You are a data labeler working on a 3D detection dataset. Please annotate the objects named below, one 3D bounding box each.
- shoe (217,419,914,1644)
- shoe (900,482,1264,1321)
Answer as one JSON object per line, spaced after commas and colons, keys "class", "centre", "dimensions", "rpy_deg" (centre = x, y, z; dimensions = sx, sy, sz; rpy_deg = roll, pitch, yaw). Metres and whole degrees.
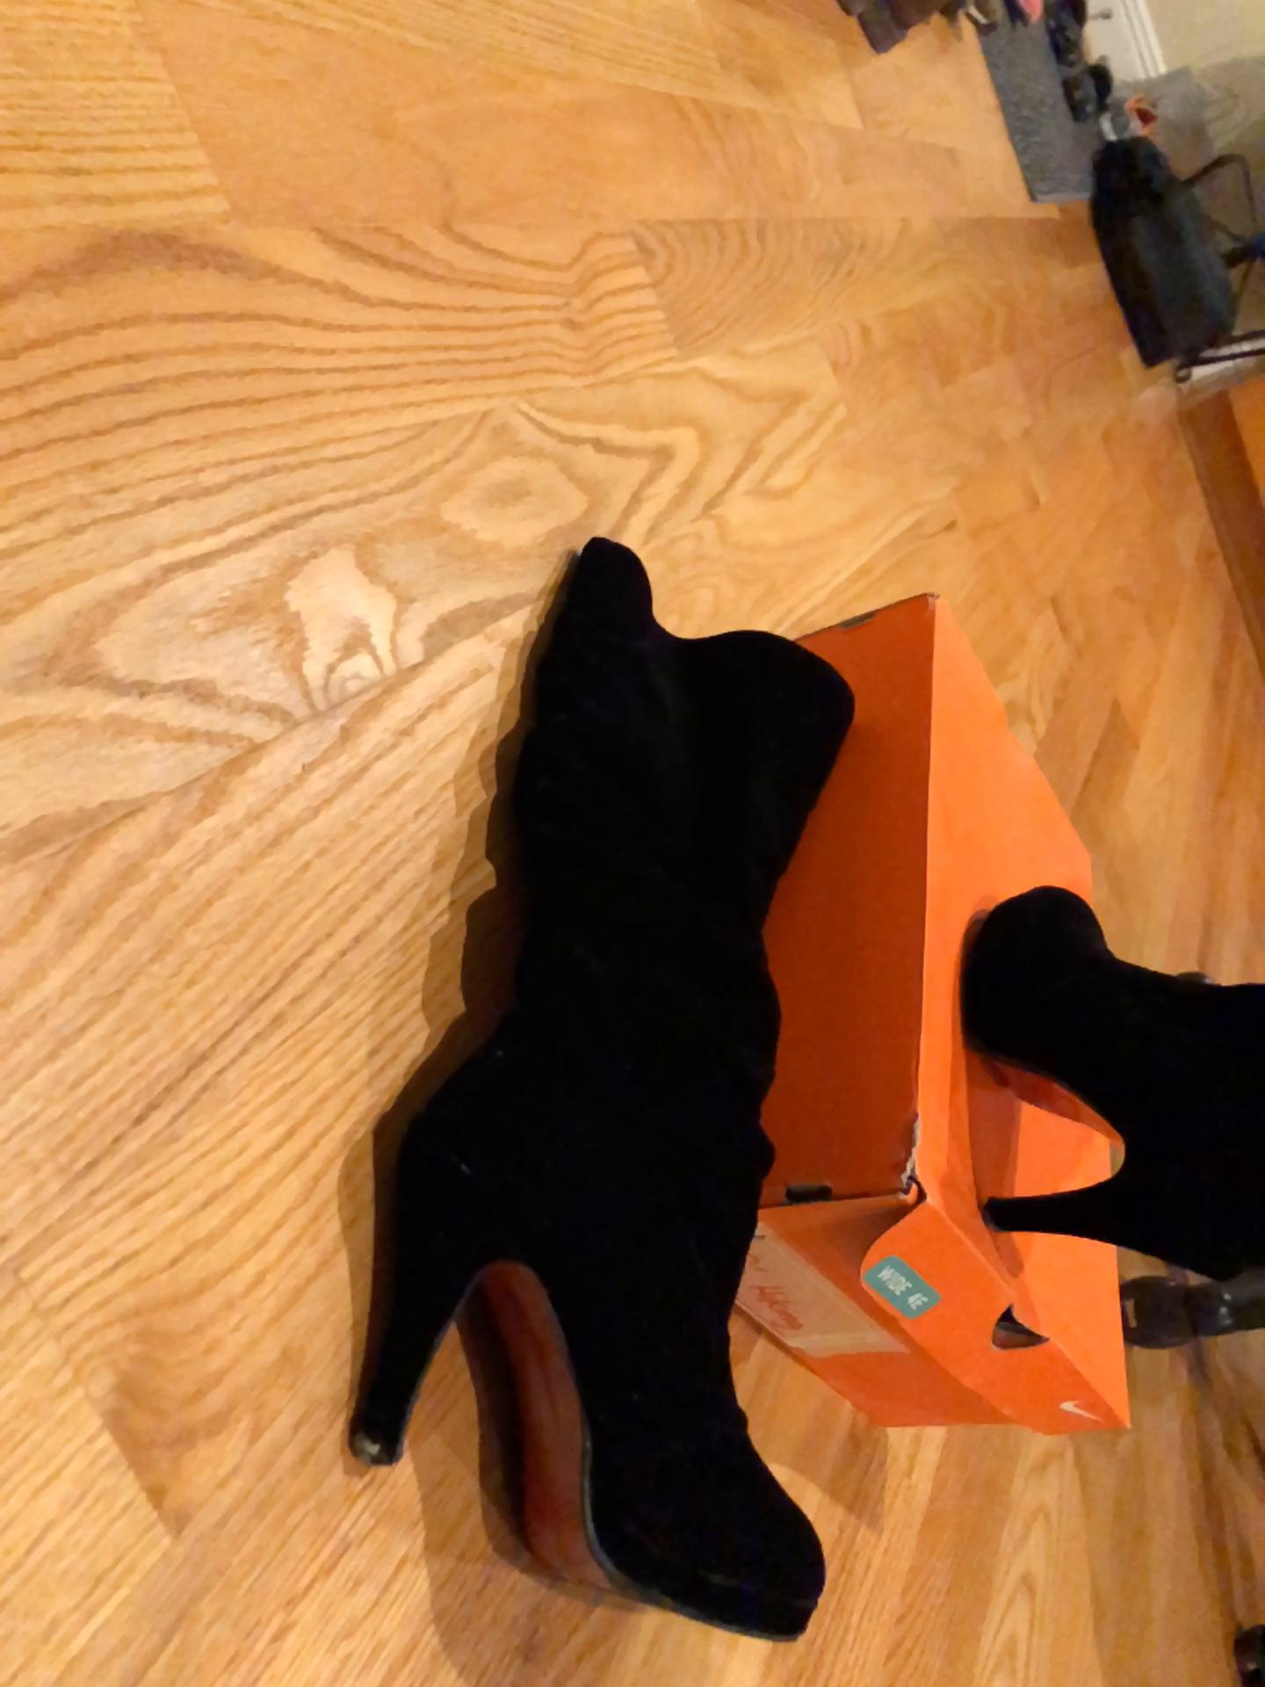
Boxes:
{"class": "shoe", "centre": [0.016, 0.051, 0.527], "dimensions": [0.207, 0.089, 0.401], "rpy_deg": [46, 39, -36]}
{"class": "shoe", "centre": [0.308, 0.036, 0.507], "dimensions": [0.089, 0.397, 0.217], "rpy_deg": [52, 36, -33]}
